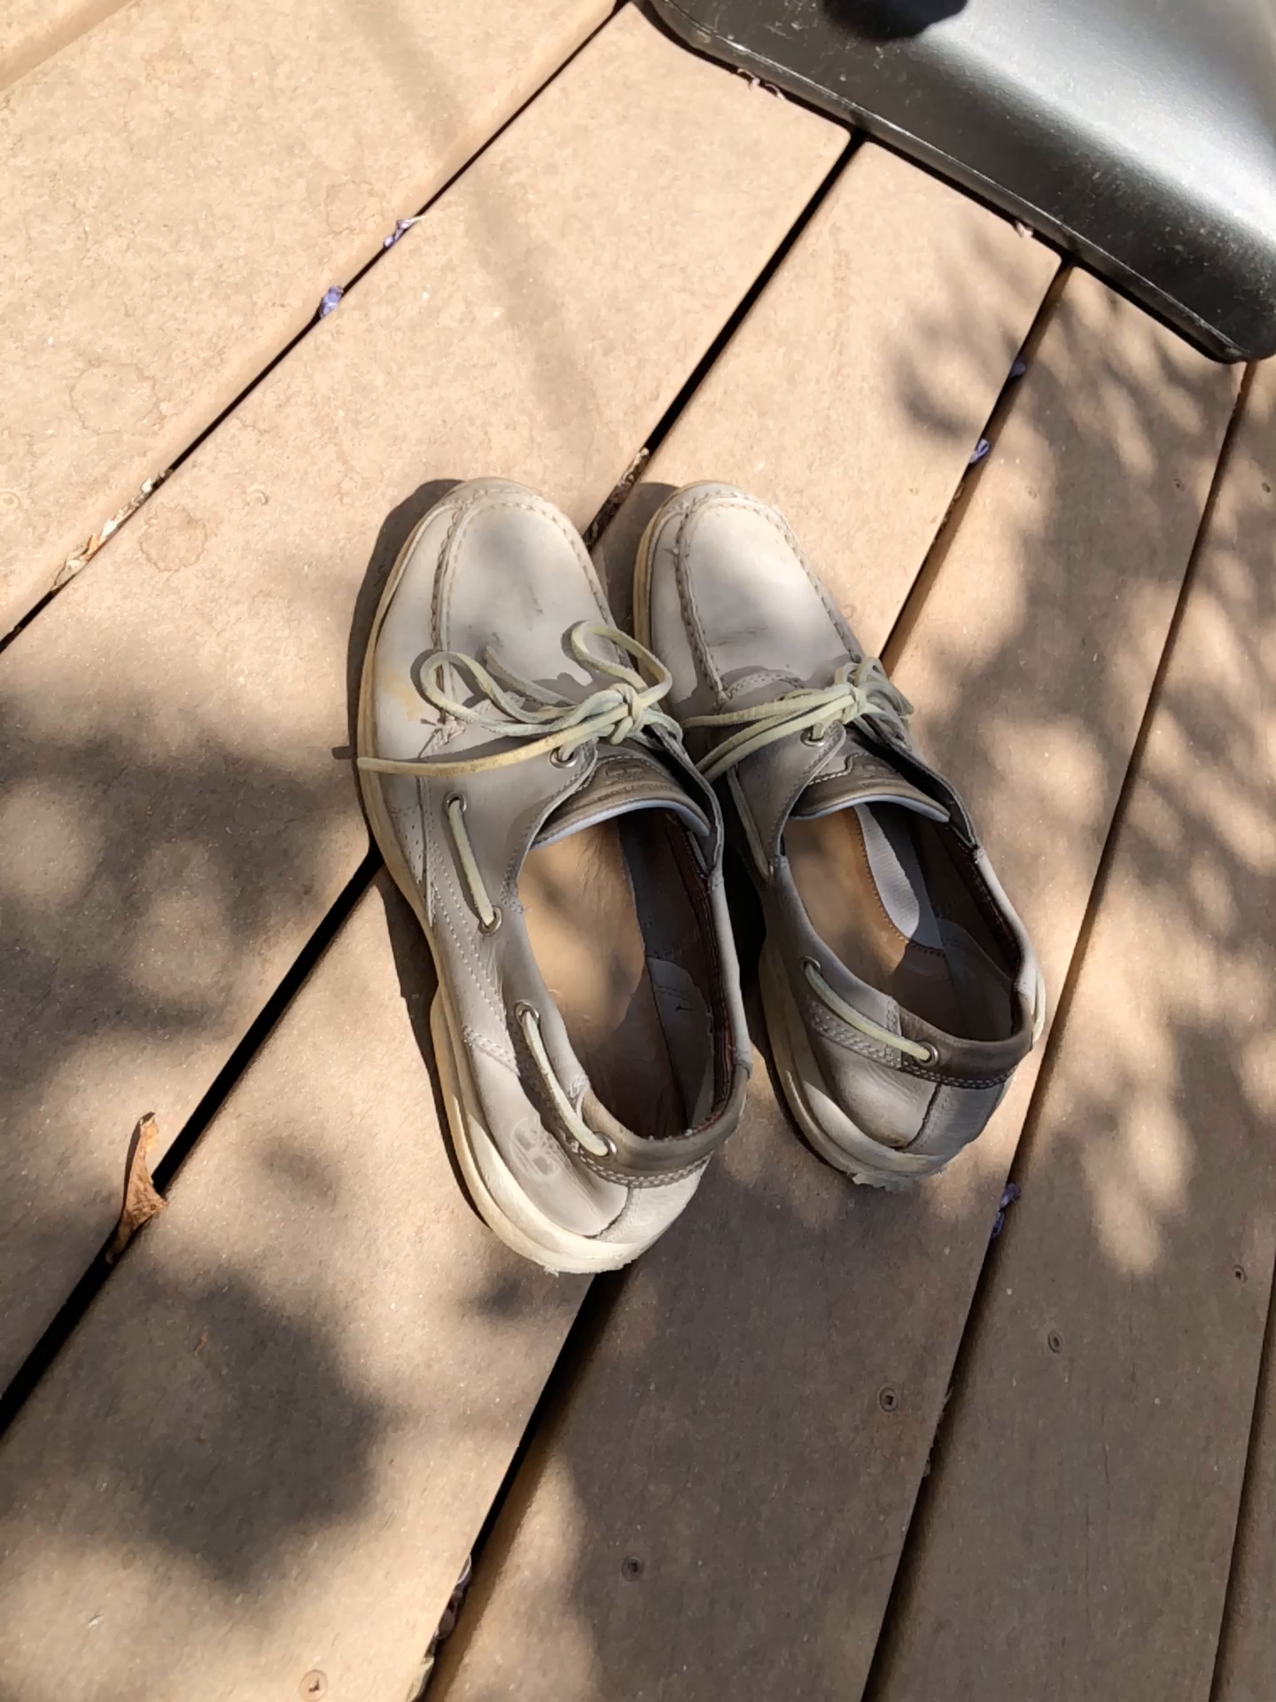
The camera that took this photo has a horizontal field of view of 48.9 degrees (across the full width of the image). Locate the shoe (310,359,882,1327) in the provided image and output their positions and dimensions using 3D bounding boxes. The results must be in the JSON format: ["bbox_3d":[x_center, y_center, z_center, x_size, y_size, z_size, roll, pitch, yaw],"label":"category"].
[{"bbox_3d":[-0.024,-0.010,0.461,0.109,0.076,0.293,-2,68,-29],"label":"shoe"}]

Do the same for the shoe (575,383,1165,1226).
[{"bbox_3d":[0.077,-0.025,0.524,0.109,0.076,0.293,-6,70,-30],"label":"shoe"}]
